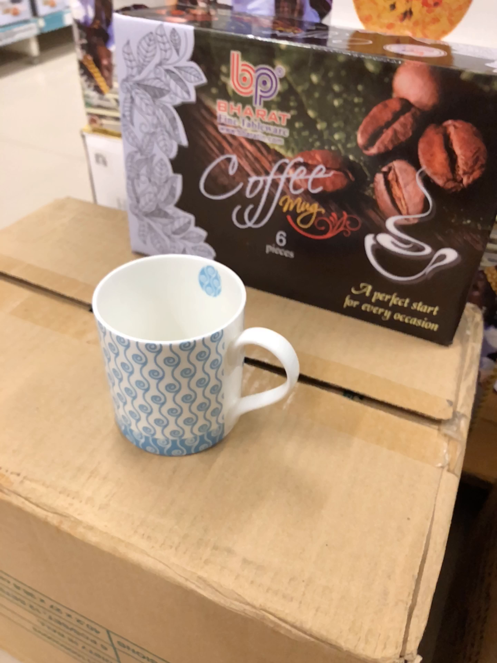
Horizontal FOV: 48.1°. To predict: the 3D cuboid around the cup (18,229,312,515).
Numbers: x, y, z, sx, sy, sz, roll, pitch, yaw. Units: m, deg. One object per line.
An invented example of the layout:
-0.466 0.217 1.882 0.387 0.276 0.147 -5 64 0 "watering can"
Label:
-0.037 0.017 0.278 0.110 0.089 0.070 18 43 17 "cup"
